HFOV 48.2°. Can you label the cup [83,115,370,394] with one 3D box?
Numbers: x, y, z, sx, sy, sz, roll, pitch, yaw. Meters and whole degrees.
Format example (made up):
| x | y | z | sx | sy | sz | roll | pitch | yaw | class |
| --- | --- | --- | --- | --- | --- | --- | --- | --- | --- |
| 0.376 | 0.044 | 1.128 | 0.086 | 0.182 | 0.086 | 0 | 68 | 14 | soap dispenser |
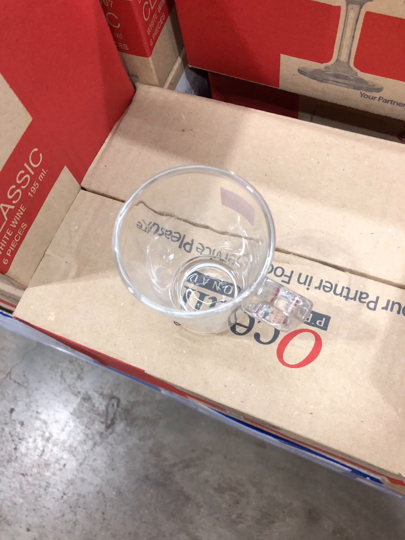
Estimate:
| x | y | z | sx | sy | sz | roll | pitch | yaw | class |
| --- | --- | --- | --- | --- | --- | --- | --- | --- | --- |
| 0.013 | 0.003 | 0.190 | 0.070 | 0.100 | 0.060 | 28 | 76 | 16 | cup |
